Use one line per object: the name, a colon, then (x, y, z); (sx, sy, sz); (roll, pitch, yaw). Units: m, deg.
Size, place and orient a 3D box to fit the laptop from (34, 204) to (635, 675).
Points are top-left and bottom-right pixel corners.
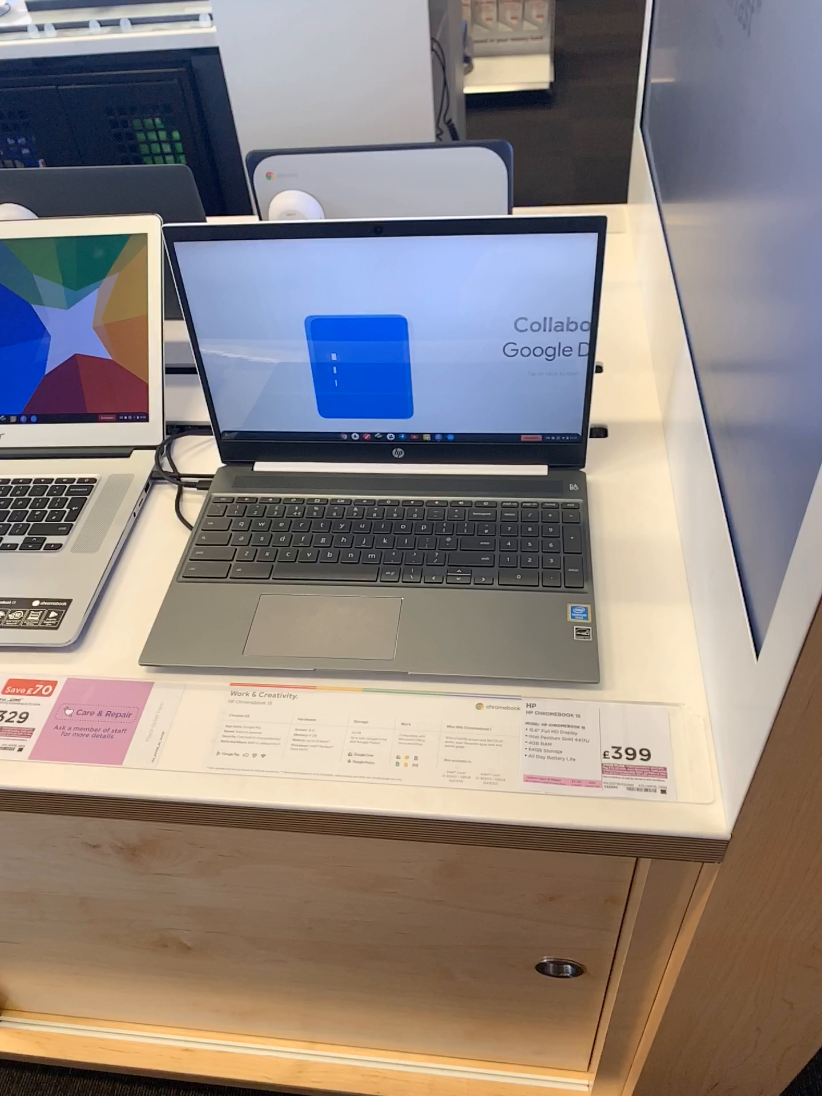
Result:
laptop: (-0.031, -0.088, 0.653); (0.351, 0.228, 0.265); (1, 45, 7)
